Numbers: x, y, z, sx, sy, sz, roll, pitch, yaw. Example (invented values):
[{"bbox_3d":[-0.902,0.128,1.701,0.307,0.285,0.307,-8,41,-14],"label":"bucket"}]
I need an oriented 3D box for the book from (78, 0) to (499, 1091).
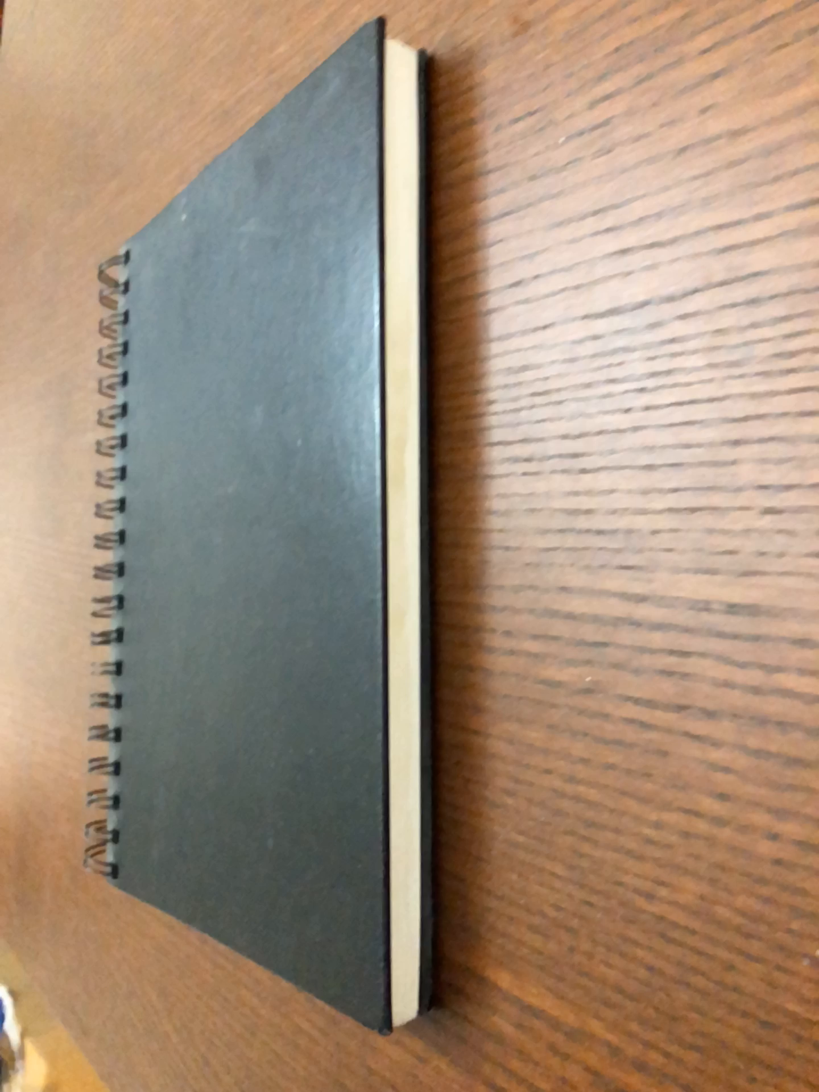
[{"bbox_3d":[-0.055,-0.004,0.292,0.201,0.030,0.260,-9,79,52],"label":"book"}]
